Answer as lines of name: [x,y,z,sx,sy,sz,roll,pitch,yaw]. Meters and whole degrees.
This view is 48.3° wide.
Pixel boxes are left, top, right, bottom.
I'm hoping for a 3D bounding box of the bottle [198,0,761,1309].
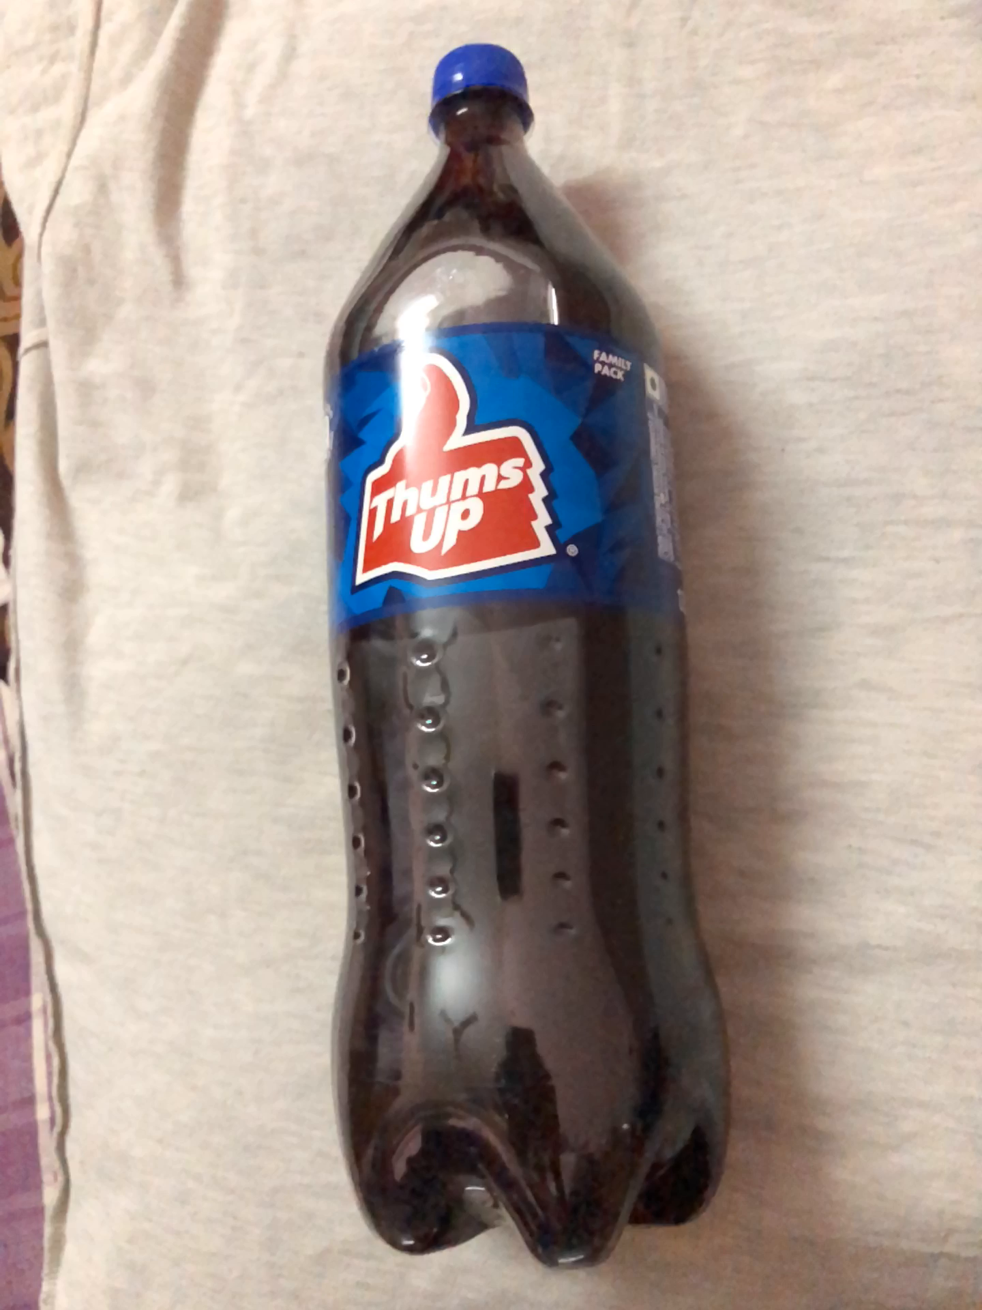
bottle: [-0.008,-0.024,0.260,0.100,0.060,0.300,-8,78,20]
